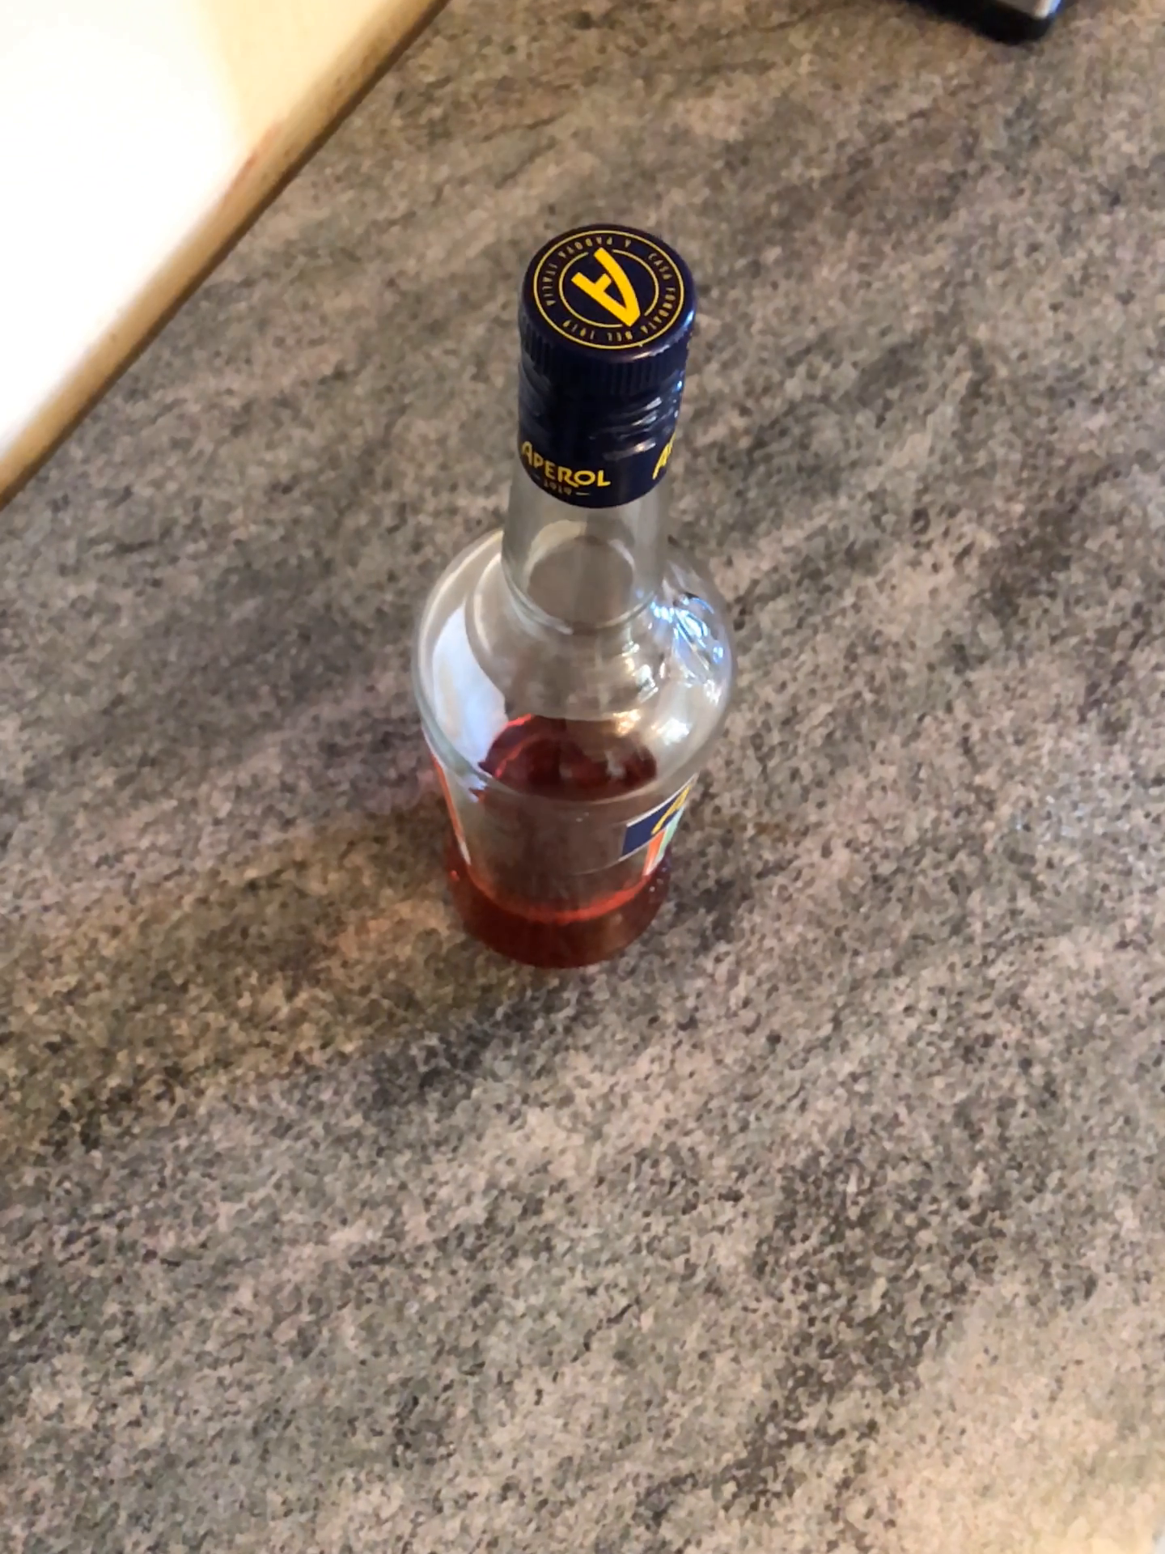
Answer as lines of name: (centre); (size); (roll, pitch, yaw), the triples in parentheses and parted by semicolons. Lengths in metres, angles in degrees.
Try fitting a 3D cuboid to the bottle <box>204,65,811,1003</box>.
bottle: (-0.013, -0.021, 0.372); (0.090, 0.329, 0.090); (1, 68, -1)
